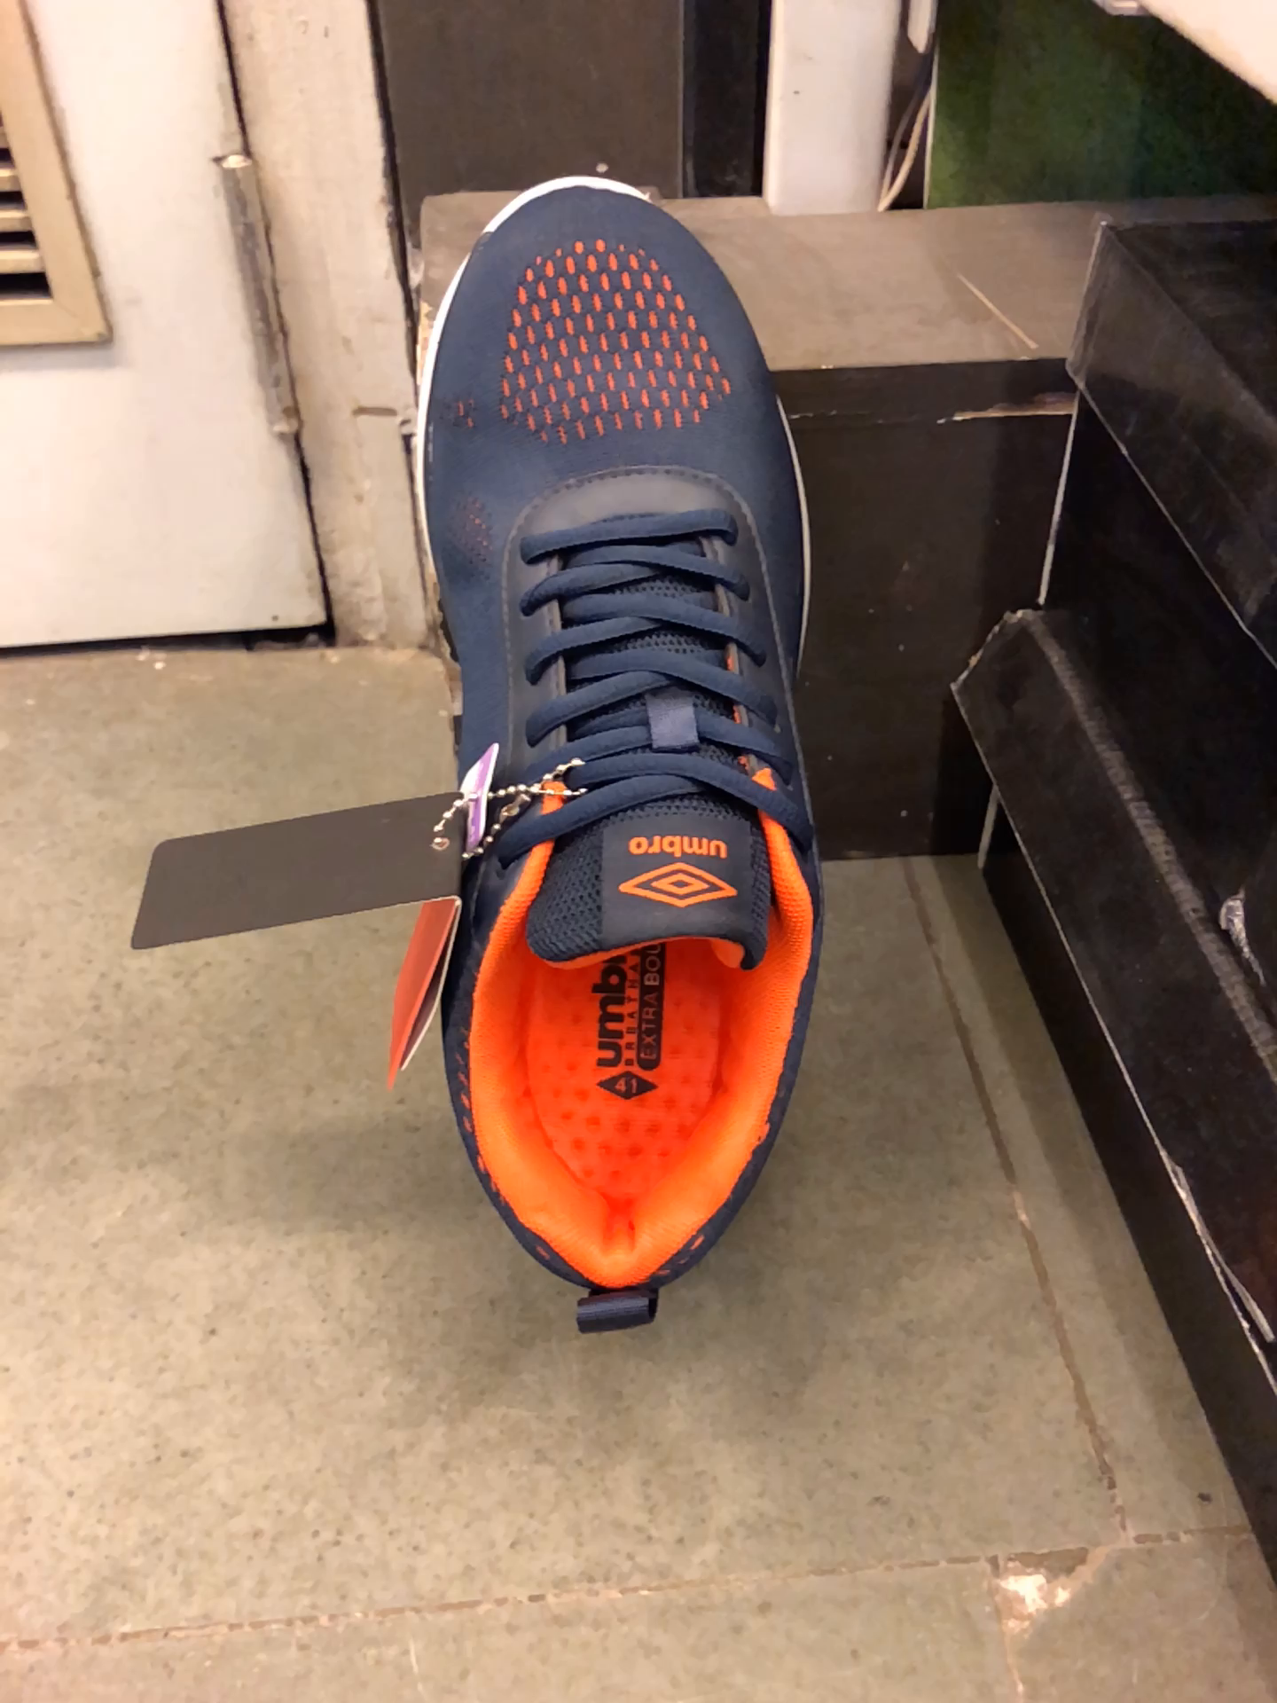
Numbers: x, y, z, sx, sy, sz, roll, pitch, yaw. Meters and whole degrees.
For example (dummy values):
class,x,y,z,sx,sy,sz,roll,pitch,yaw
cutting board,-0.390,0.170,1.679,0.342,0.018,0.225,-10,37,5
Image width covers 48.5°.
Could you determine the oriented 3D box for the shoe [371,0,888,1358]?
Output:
class,x,y,z,sx,sy,sz,roll,pitch,yaw
shoe,-0.010,-0.038,0.338,0.092,0.259,0.133,-2,10,-8
